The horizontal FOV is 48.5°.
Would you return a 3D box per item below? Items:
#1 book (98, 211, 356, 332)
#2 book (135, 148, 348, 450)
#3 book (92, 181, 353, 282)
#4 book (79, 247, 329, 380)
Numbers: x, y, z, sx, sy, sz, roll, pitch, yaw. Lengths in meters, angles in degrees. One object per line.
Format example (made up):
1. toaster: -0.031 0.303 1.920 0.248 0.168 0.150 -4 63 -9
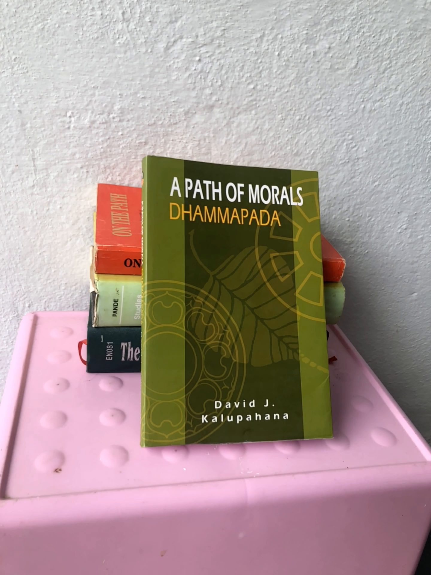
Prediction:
1. book: -0.002 -0.021 0.454 0.210 0.040 0.161 1 28 -14
2. book: 0.018 0.008 0.367 0.150 0.210 0.040 2 -11 -15
3. book: -0.005 -0.057 0.449 0.210 0.030 0.161 0 29 -13
4. book: -0.020 0.018 0.476 0.210 0.050 0.161 1 28 -12
